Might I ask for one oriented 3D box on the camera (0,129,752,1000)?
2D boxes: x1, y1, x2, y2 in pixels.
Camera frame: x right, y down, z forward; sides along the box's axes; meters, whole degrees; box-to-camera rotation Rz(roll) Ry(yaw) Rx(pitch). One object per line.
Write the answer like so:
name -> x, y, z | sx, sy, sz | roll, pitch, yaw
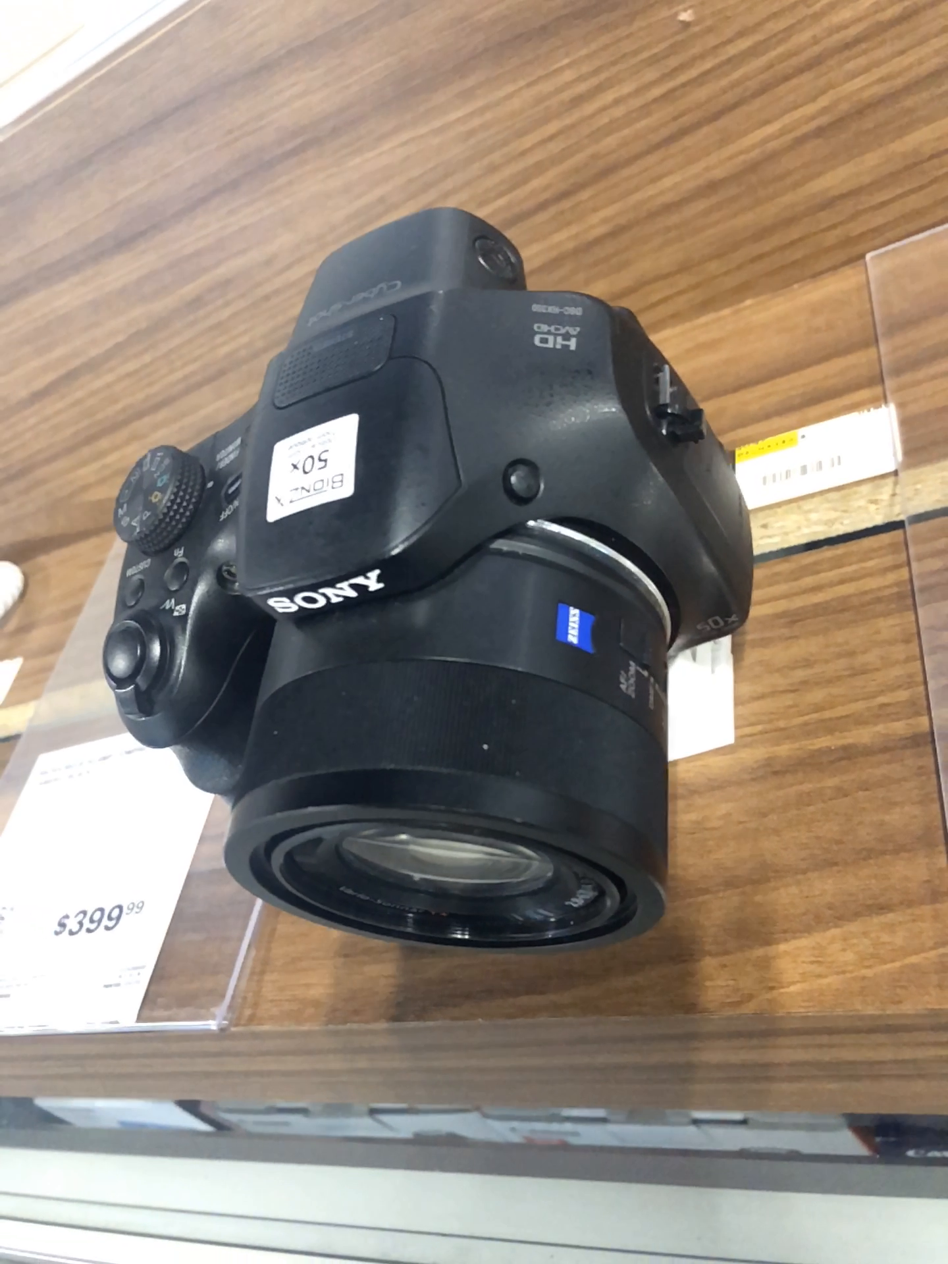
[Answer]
camera -> -0.025, -0.003, 0.197 | 0.125, 0.084, 0.110 | -13, 45, 30
